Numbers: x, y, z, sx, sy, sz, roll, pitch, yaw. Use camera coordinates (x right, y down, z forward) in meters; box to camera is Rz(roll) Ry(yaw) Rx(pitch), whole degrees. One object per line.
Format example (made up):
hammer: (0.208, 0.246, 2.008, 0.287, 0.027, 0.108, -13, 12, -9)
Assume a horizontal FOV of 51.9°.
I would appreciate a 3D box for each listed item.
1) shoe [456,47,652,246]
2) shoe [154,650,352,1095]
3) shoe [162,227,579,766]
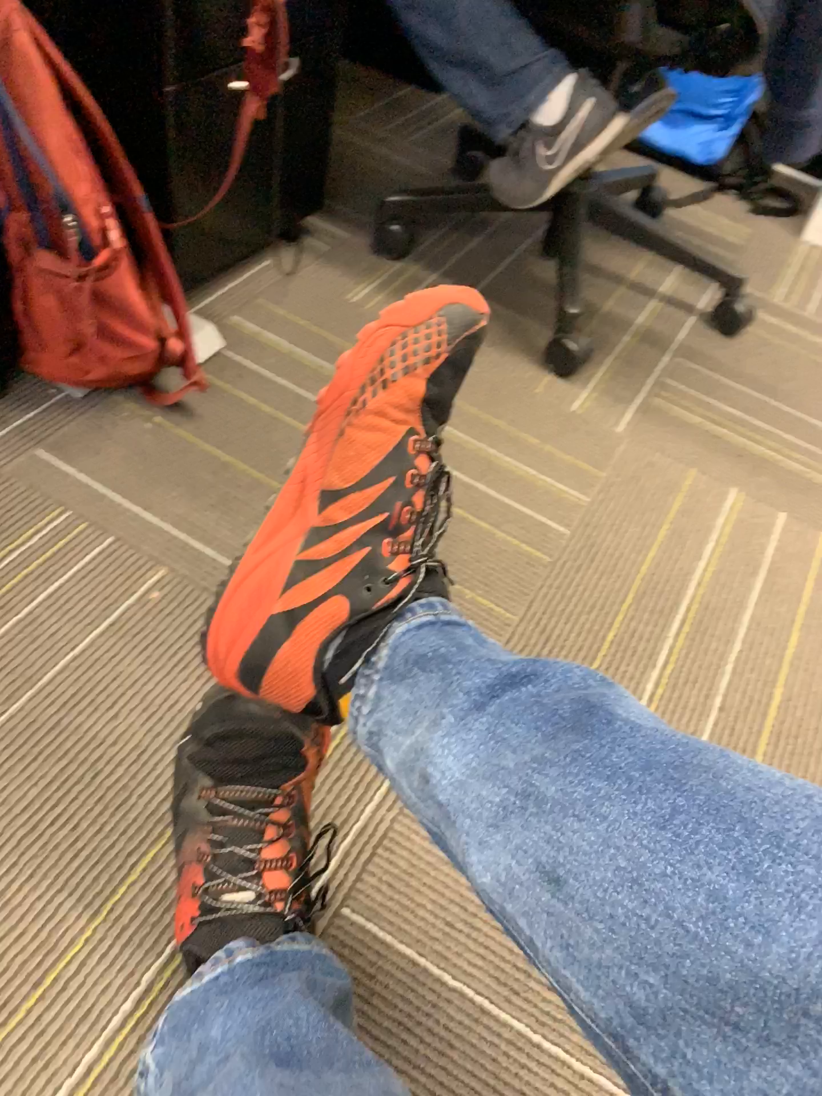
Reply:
shoe: (0.278, -0.799, 1.716, 0.164, 0.355, 0.155, 47, 66, -14)
shoe: (-0.124, 0.233, 0.661, 0.129, 0.135, 0.289, 2, 90, -13)
shoe: (-0.025, -0.033, 0.577, 0.142, 0.304, 0.118, 29, 16, 5)
